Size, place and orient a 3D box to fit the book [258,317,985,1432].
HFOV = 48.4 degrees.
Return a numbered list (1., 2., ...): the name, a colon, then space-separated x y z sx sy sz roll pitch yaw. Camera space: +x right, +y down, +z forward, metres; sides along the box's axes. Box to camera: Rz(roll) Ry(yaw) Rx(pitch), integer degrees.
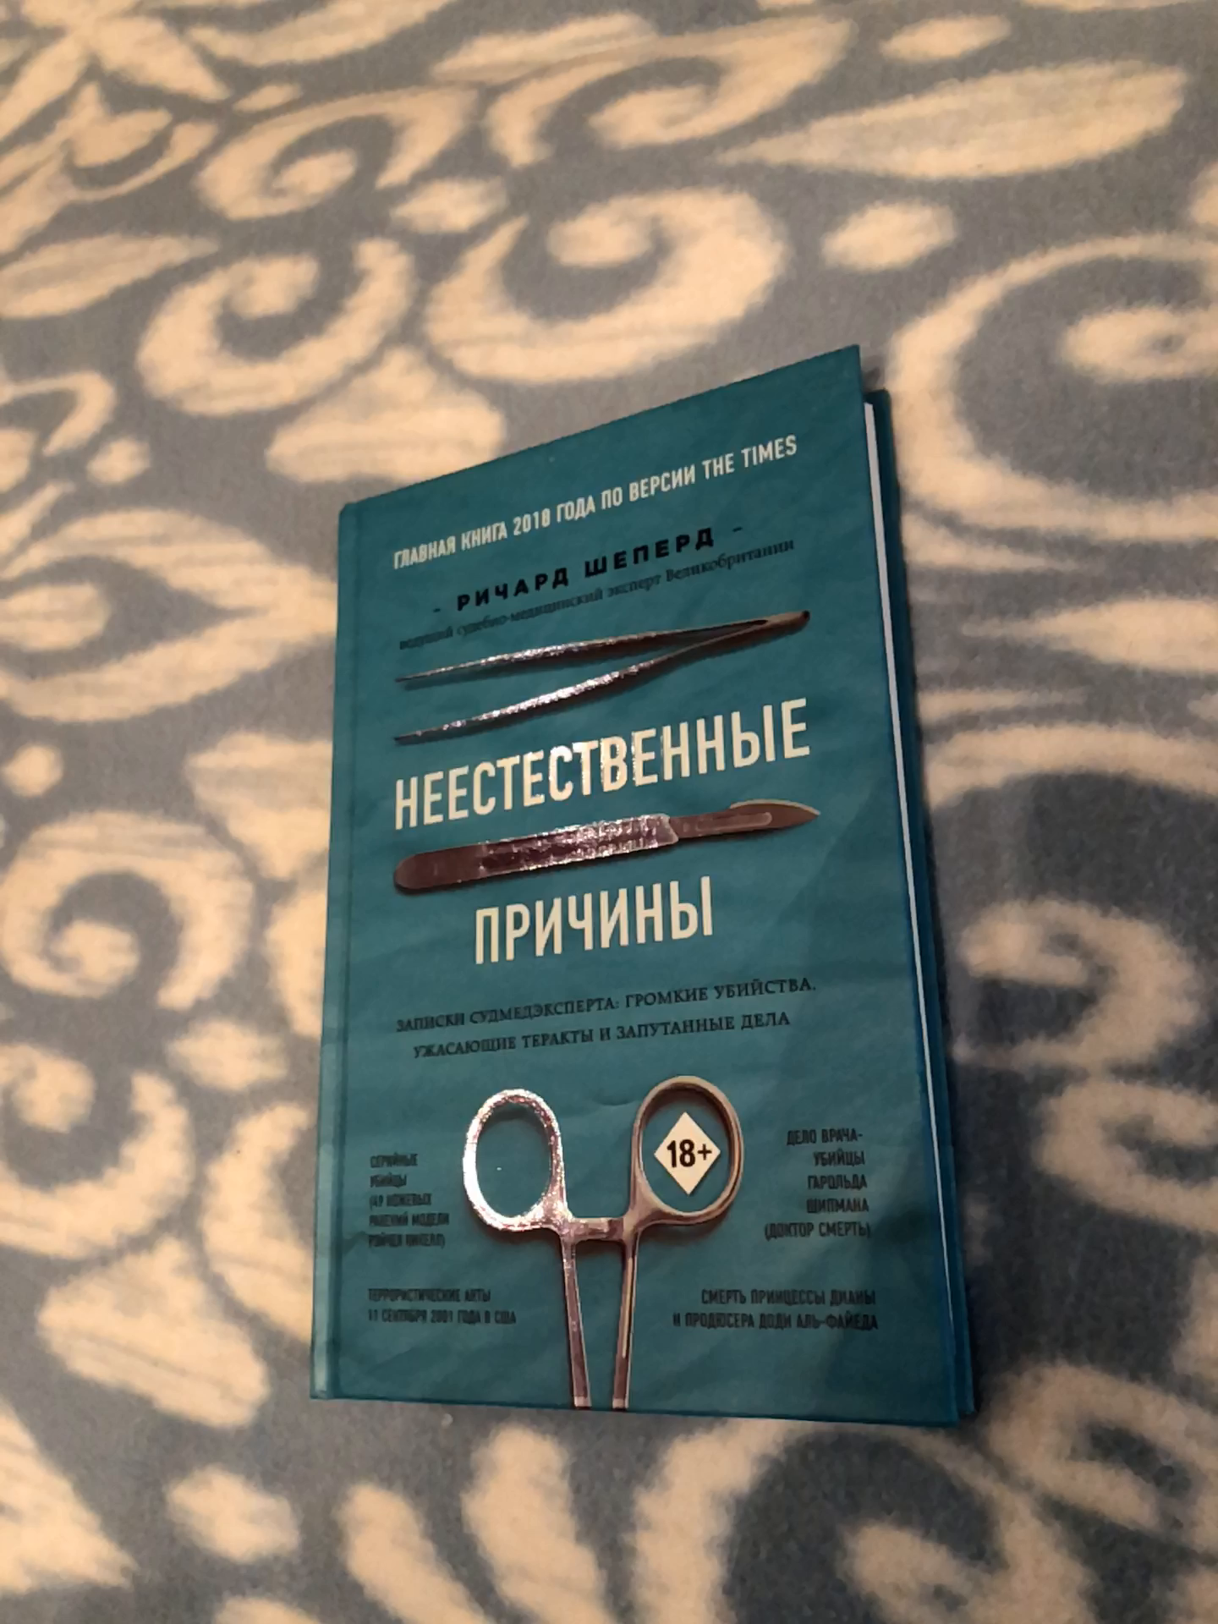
1. book: -0.006 0.013 0.300 0.149 0.025 0.218 -10 72 25
